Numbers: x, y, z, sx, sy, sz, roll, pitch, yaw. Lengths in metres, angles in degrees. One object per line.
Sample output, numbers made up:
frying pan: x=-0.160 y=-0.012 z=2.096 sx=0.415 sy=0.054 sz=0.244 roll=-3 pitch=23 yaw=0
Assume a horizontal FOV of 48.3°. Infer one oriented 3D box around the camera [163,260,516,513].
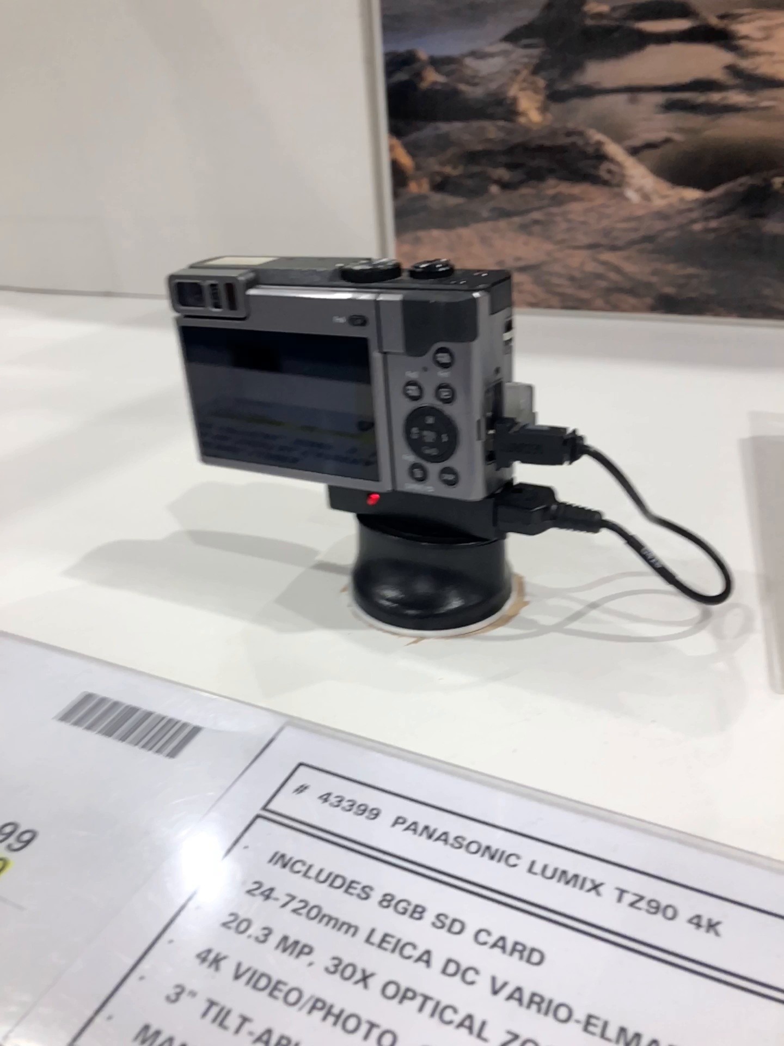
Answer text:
camera: x=-0.016 y=-0.047 z=0.278 sx=0.107 sy=0.065 sz=0.030 roll=10 pitch=29 yaw=27
